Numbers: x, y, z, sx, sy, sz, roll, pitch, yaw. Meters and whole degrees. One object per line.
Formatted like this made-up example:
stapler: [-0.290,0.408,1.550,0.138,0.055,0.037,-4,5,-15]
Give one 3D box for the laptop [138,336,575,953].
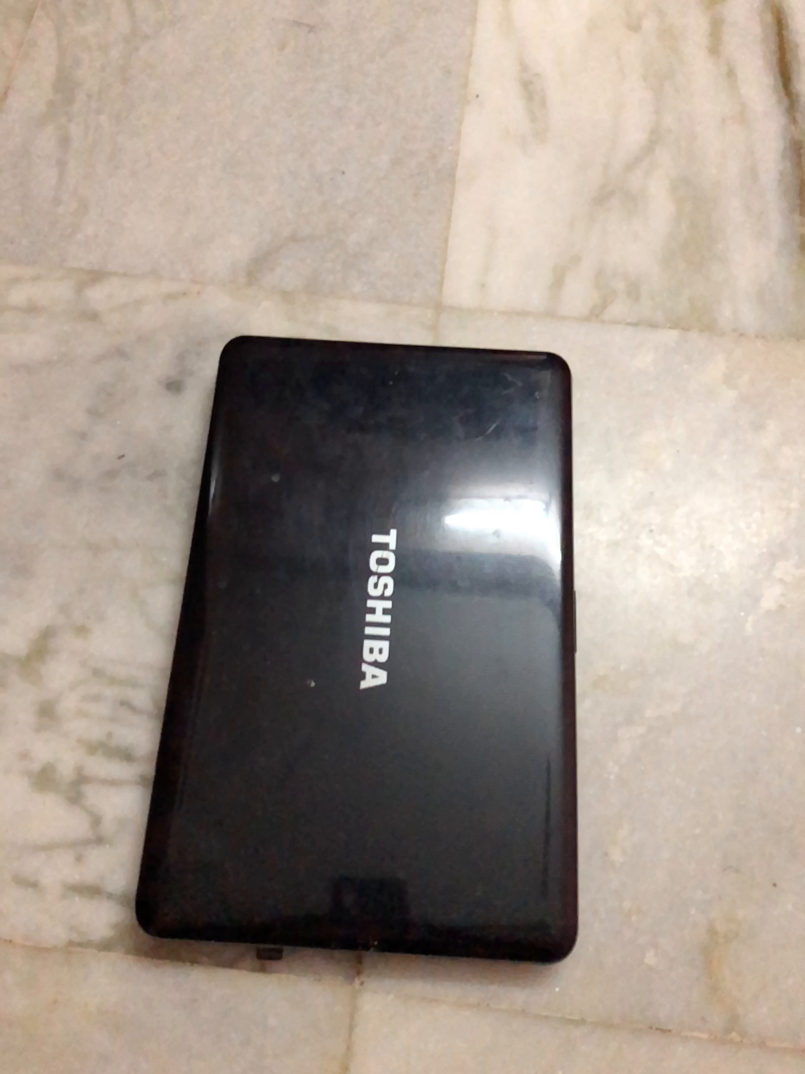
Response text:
laptop: [-0.013,0.041,0.523,0.224,0.004,0.360,3,69,0]
